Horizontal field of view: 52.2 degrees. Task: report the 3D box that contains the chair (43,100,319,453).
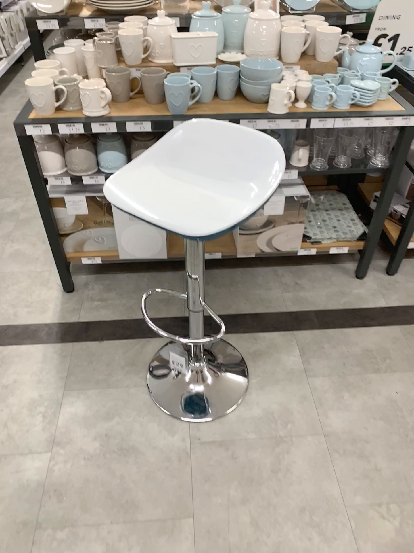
[{"bbox_3d":[-0.047,0.022,1.224,0.456,0.825,0.423,25,48,25],"label":"chair"}]
